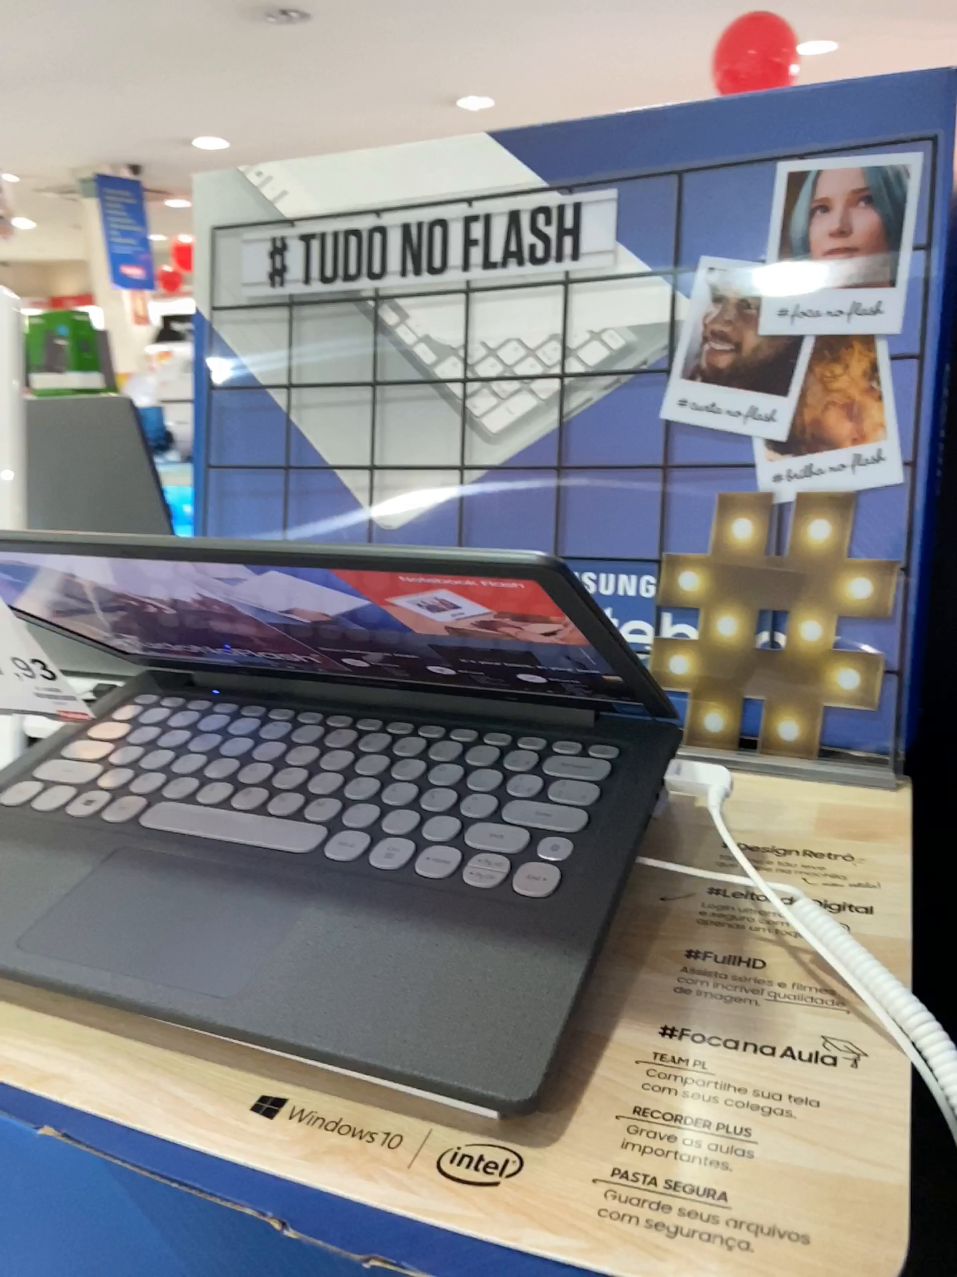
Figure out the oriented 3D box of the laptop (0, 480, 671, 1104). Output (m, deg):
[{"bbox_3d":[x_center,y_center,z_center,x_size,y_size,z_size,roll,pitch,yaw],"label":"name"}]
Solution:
[{"bbox_3d":[-0.100,0.024,0.422,0.323,0.114,0.211,3,25,23],"label":"laptop"}]
